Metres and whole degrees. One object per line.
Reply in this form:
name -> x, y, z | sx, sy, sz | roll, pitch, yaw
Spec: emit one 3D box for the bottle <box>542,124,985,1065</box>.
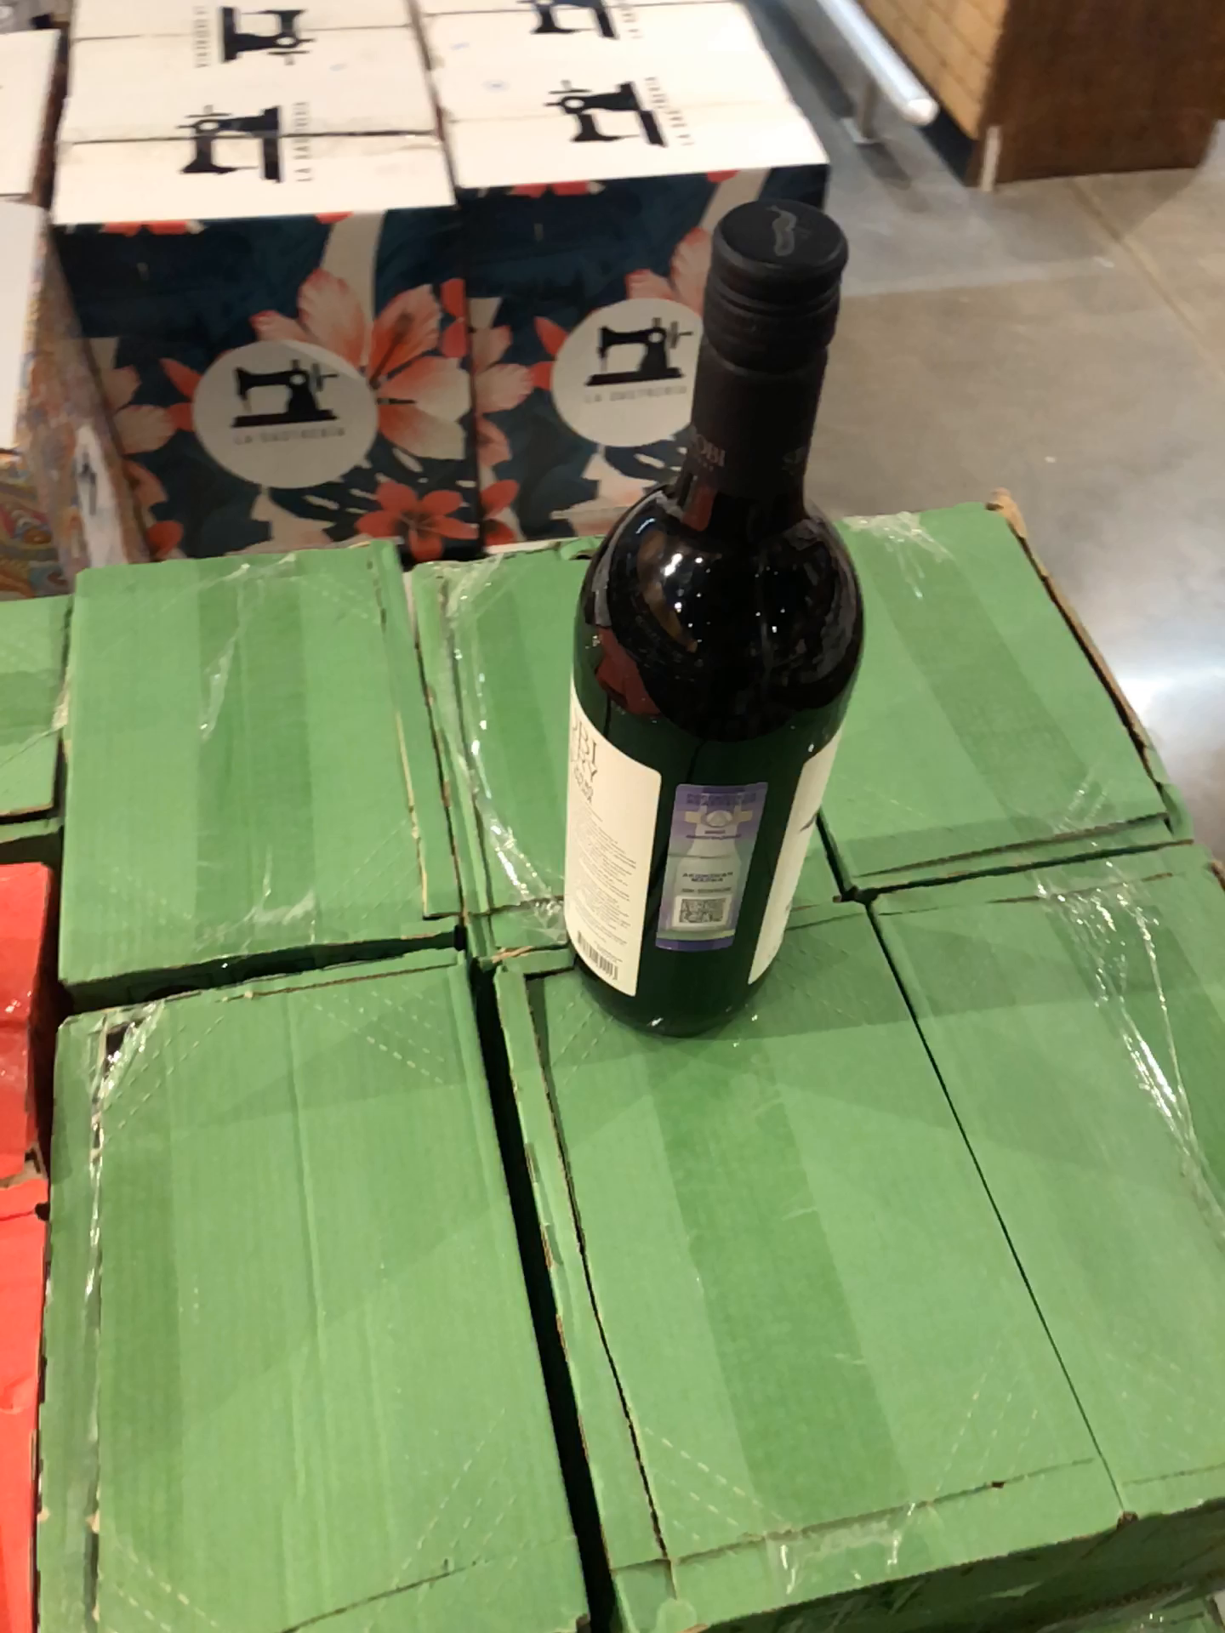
bottle -> 0.024, -0.039, 0.407 | 0.080, 0.288, 0.091 | -5, 52, -6
